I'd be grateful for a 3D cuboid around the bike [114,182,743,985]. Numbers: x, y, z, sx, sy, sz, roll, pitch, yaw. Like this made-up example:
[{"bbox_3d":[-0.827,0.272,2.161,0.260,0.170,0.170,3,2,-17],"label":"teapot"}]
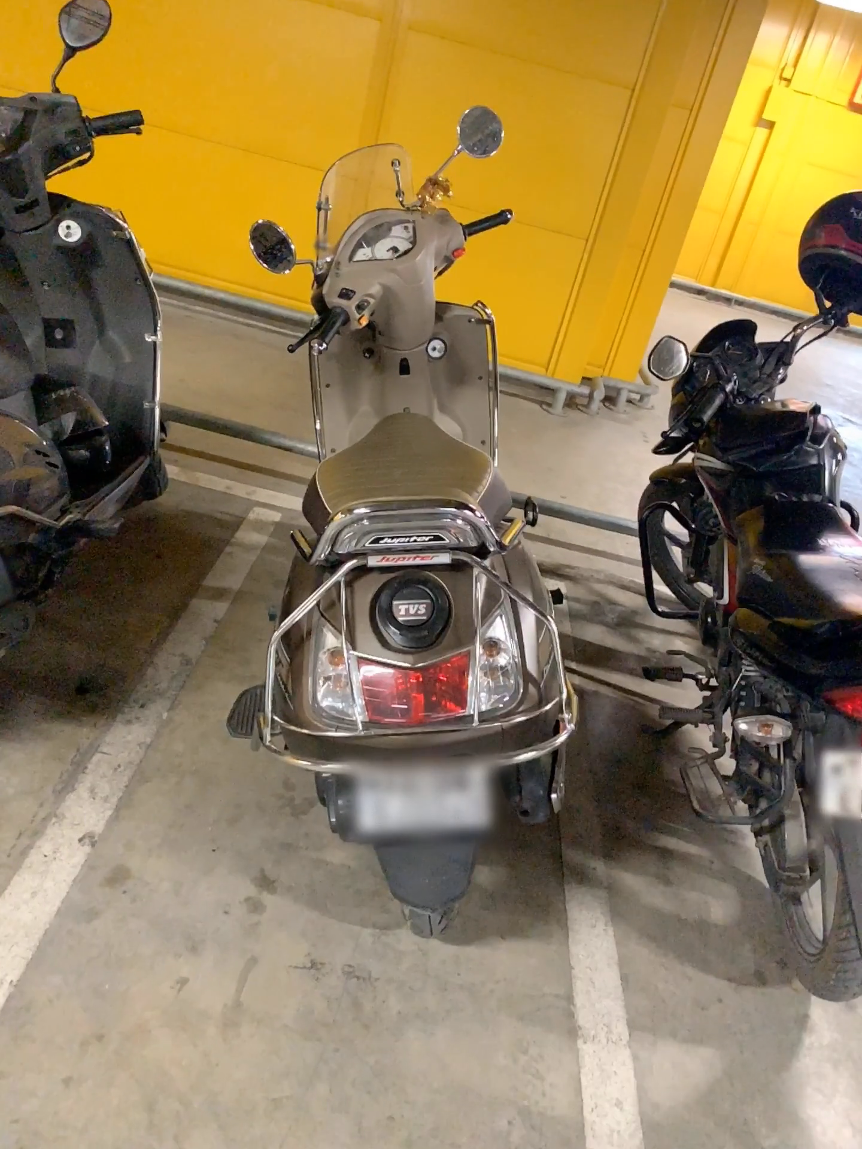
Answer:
[{"bbox_3d":[-0.178,-0.160,1.841,0.603,1.027,1.562,9,26,-13],"label":"bike"}]
